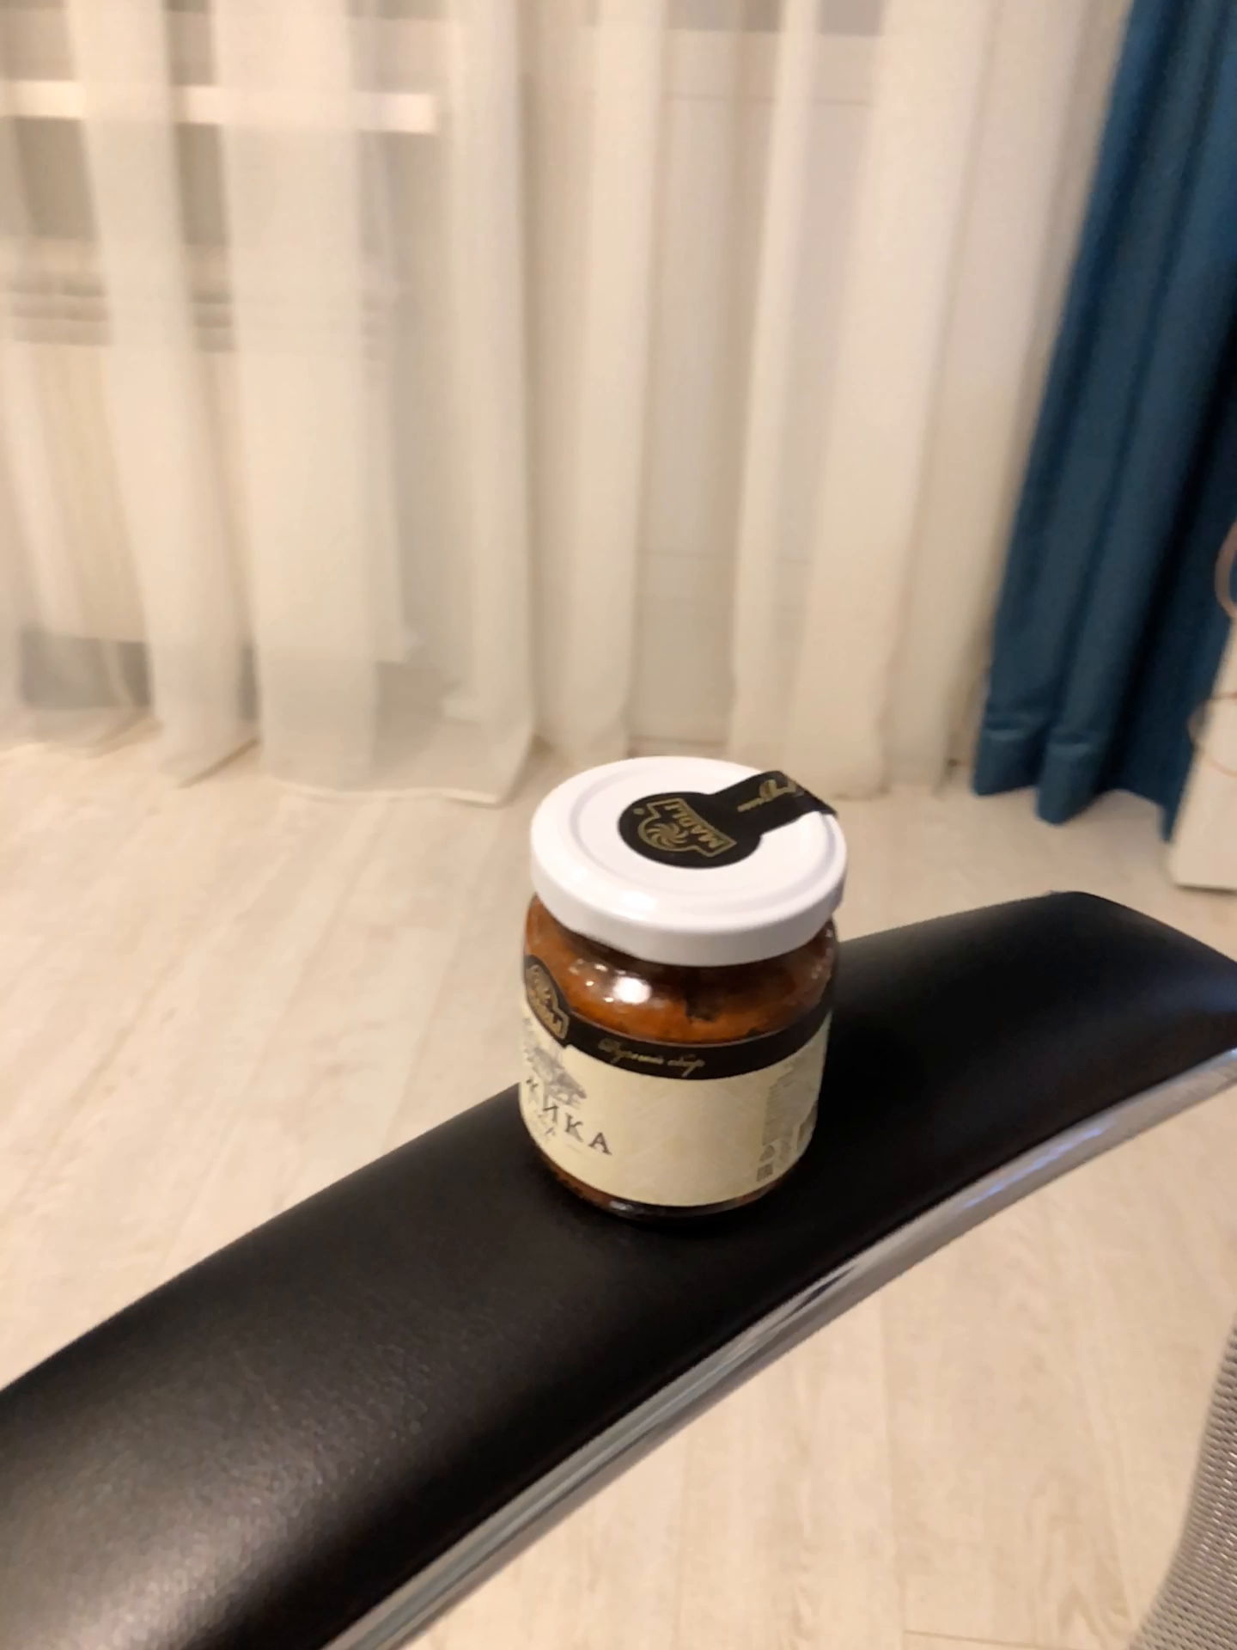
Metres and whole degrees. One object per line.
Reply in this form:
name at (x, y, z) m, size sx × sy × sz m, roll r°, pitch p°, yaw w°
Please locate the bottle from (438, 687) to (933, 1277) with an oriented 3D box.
bottle at (0.008, 0.024, 0.243) m, size 0.060 × 0.070 × 0.060 m, roll -13°, pitch 34°, yaw -24°
